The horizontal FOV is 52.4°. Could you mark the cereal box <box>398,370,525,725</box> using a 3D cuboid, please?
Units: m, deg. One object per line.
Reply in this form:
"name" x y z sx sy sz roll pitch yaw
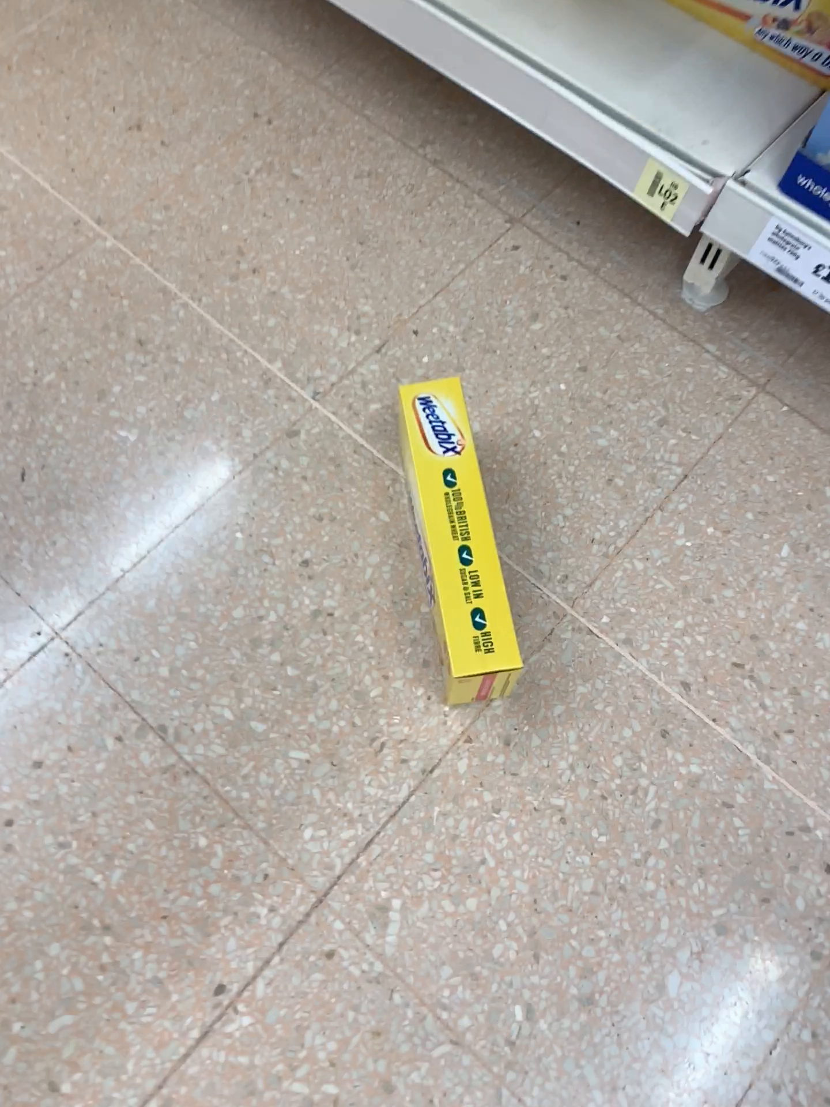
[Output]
"cereal box" 0.030 -0.006 0.673 0.050 0.100 0.261 -8 67 -4
